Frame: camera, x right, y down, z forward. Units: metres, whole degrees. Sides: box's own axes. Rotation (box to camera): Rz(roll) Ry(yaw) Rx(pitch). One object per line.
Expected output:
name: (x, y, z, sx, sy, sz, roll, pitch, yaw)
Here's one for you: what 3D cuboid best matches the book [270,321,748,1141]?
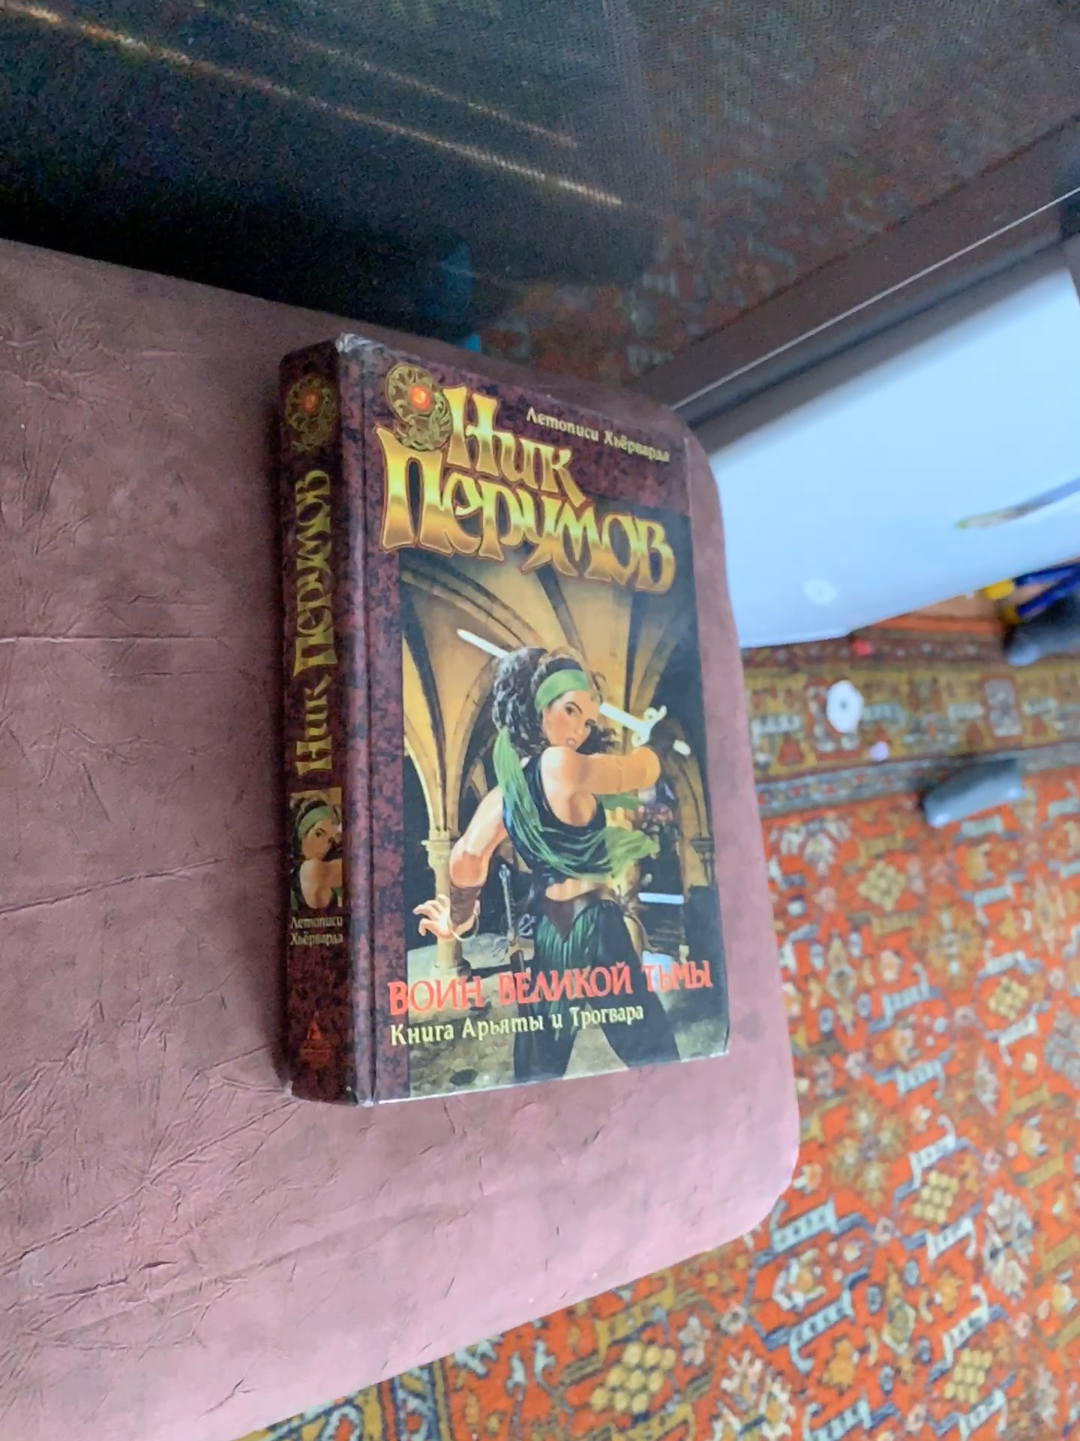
book: (-0.007, 0.004, 0.333, 0.140, 0.037, 0.205, 6, 76, -38)
